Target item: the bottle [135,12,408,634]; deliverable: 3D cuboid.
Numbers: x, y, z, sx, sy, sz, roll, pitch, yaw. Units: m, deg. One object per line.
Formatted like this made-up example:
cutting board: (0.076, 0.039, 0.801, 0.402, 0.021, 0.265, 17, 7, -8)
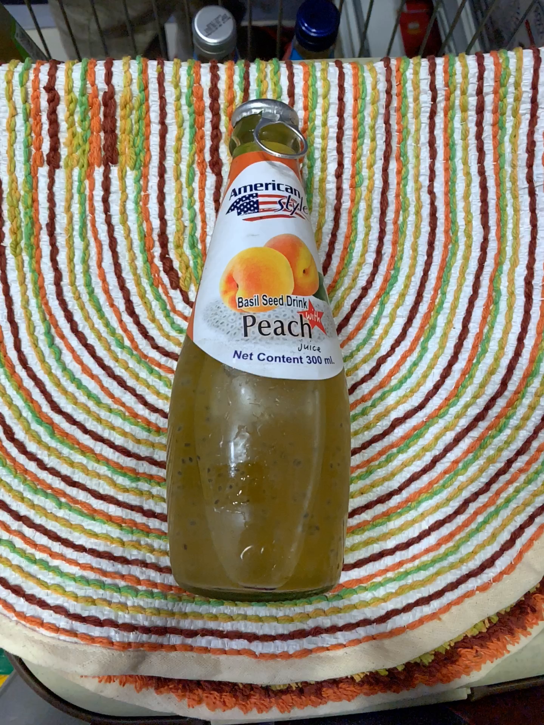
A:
bottle: (-0.002, -0.016, 0.210, 0.070, 0.060, 0.200, 8, 72, -22)
